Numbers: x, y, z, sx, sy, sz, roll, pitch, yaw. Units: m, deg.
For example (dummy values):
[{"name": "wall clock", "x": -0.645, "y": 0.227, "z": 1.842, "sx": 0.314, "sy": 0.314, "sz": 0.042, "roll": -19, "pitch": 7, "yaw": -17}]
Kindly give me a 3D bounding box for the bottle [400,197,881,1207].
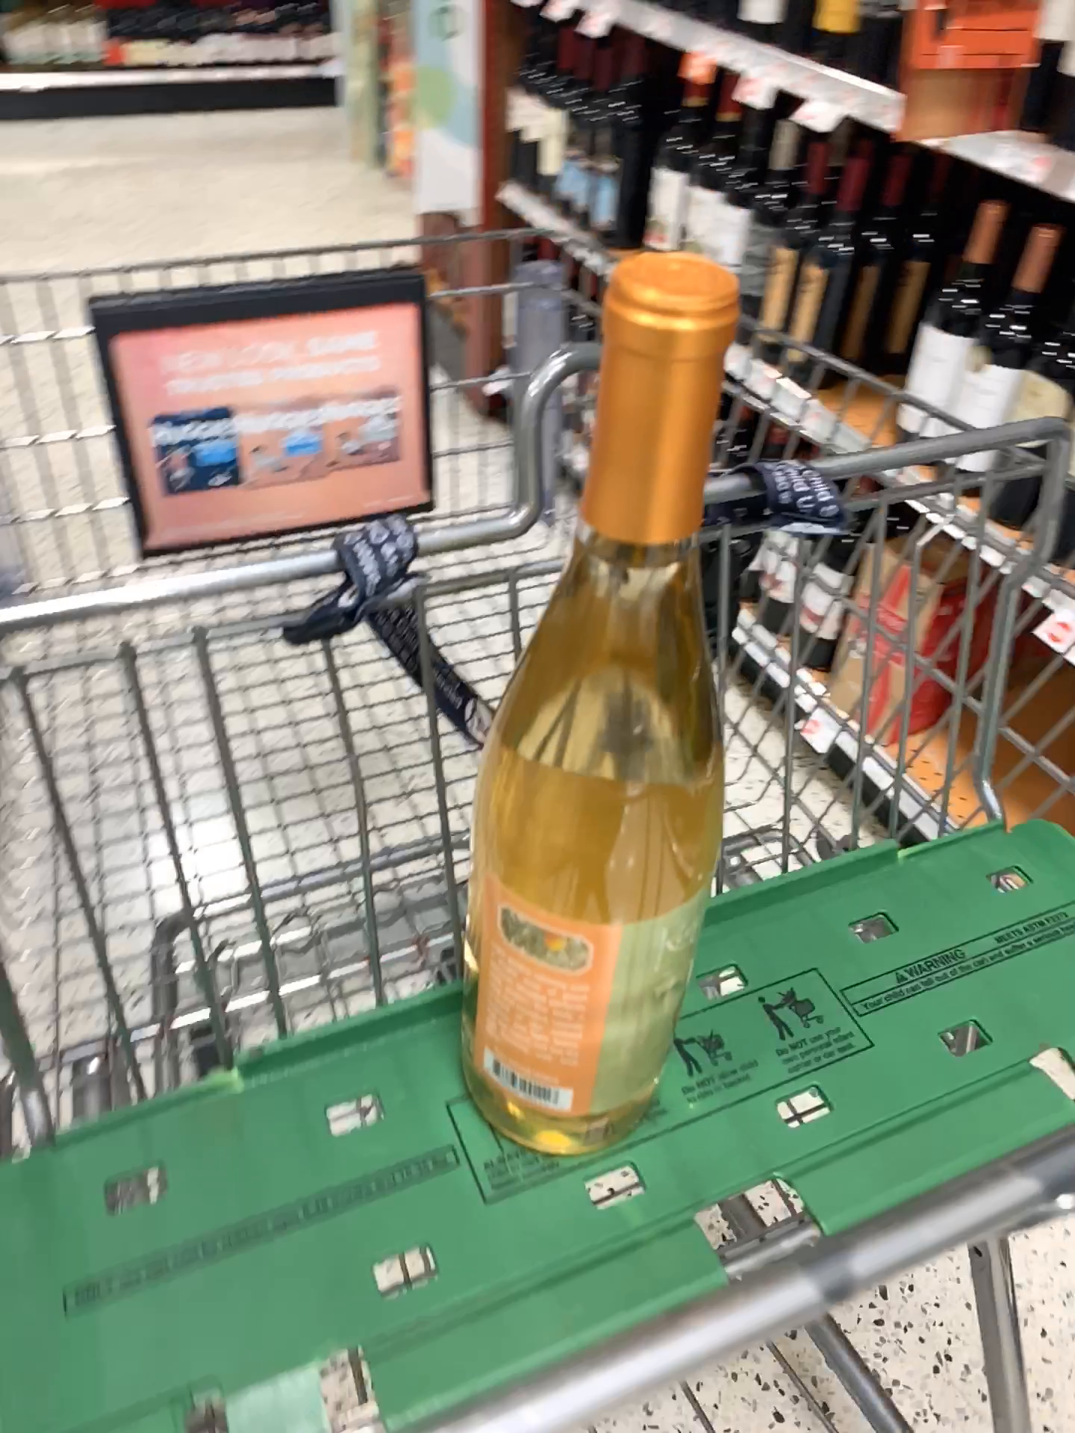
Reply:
[{"name": "bottle", "x": 0.016, "y": 0.021, "z": 0.328, "sx": 0.086, "sy": 0.297, "sz": 0.084, "roll": 3, "pitch": 39, "yaw": -3}]
